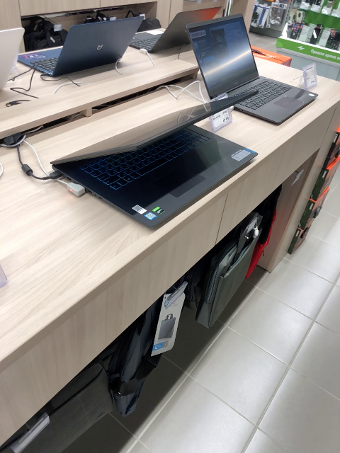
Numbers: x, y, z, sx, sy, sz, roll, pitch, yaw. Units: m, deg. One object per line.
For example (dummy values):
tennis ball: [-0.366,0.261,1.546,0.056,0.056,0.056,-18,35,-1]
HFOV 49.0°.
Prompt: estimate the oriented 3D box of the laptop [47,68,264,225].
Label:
laptop: [-0.016,-0.205,0.813,0.271,0.129,0.391,30,43,24]
